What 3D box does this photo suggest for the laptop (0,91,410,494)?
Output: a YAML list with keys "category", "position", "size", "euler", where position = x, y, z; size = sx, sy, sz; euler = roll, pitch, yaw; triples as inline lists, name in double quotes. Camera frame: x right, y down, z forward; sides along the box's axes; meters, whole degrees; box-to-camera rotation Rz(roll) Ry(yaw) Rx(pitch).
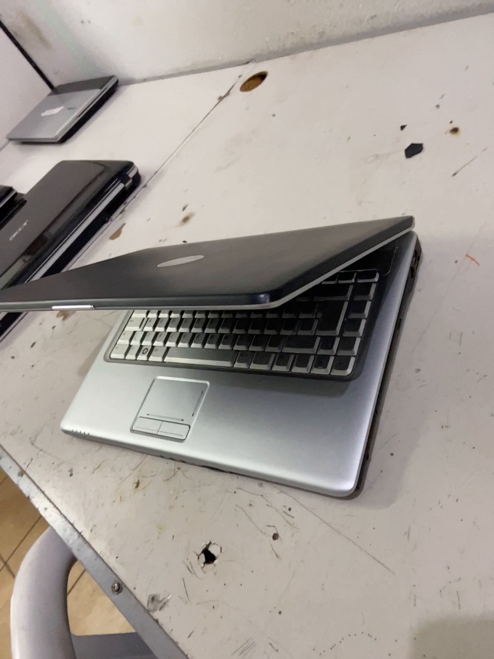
- category: "laptop"
  position: [-0.067, -0.029, 0.460]
  size: [0.348, 0.145, 0.238]
  euler: [1, 56, 36]
